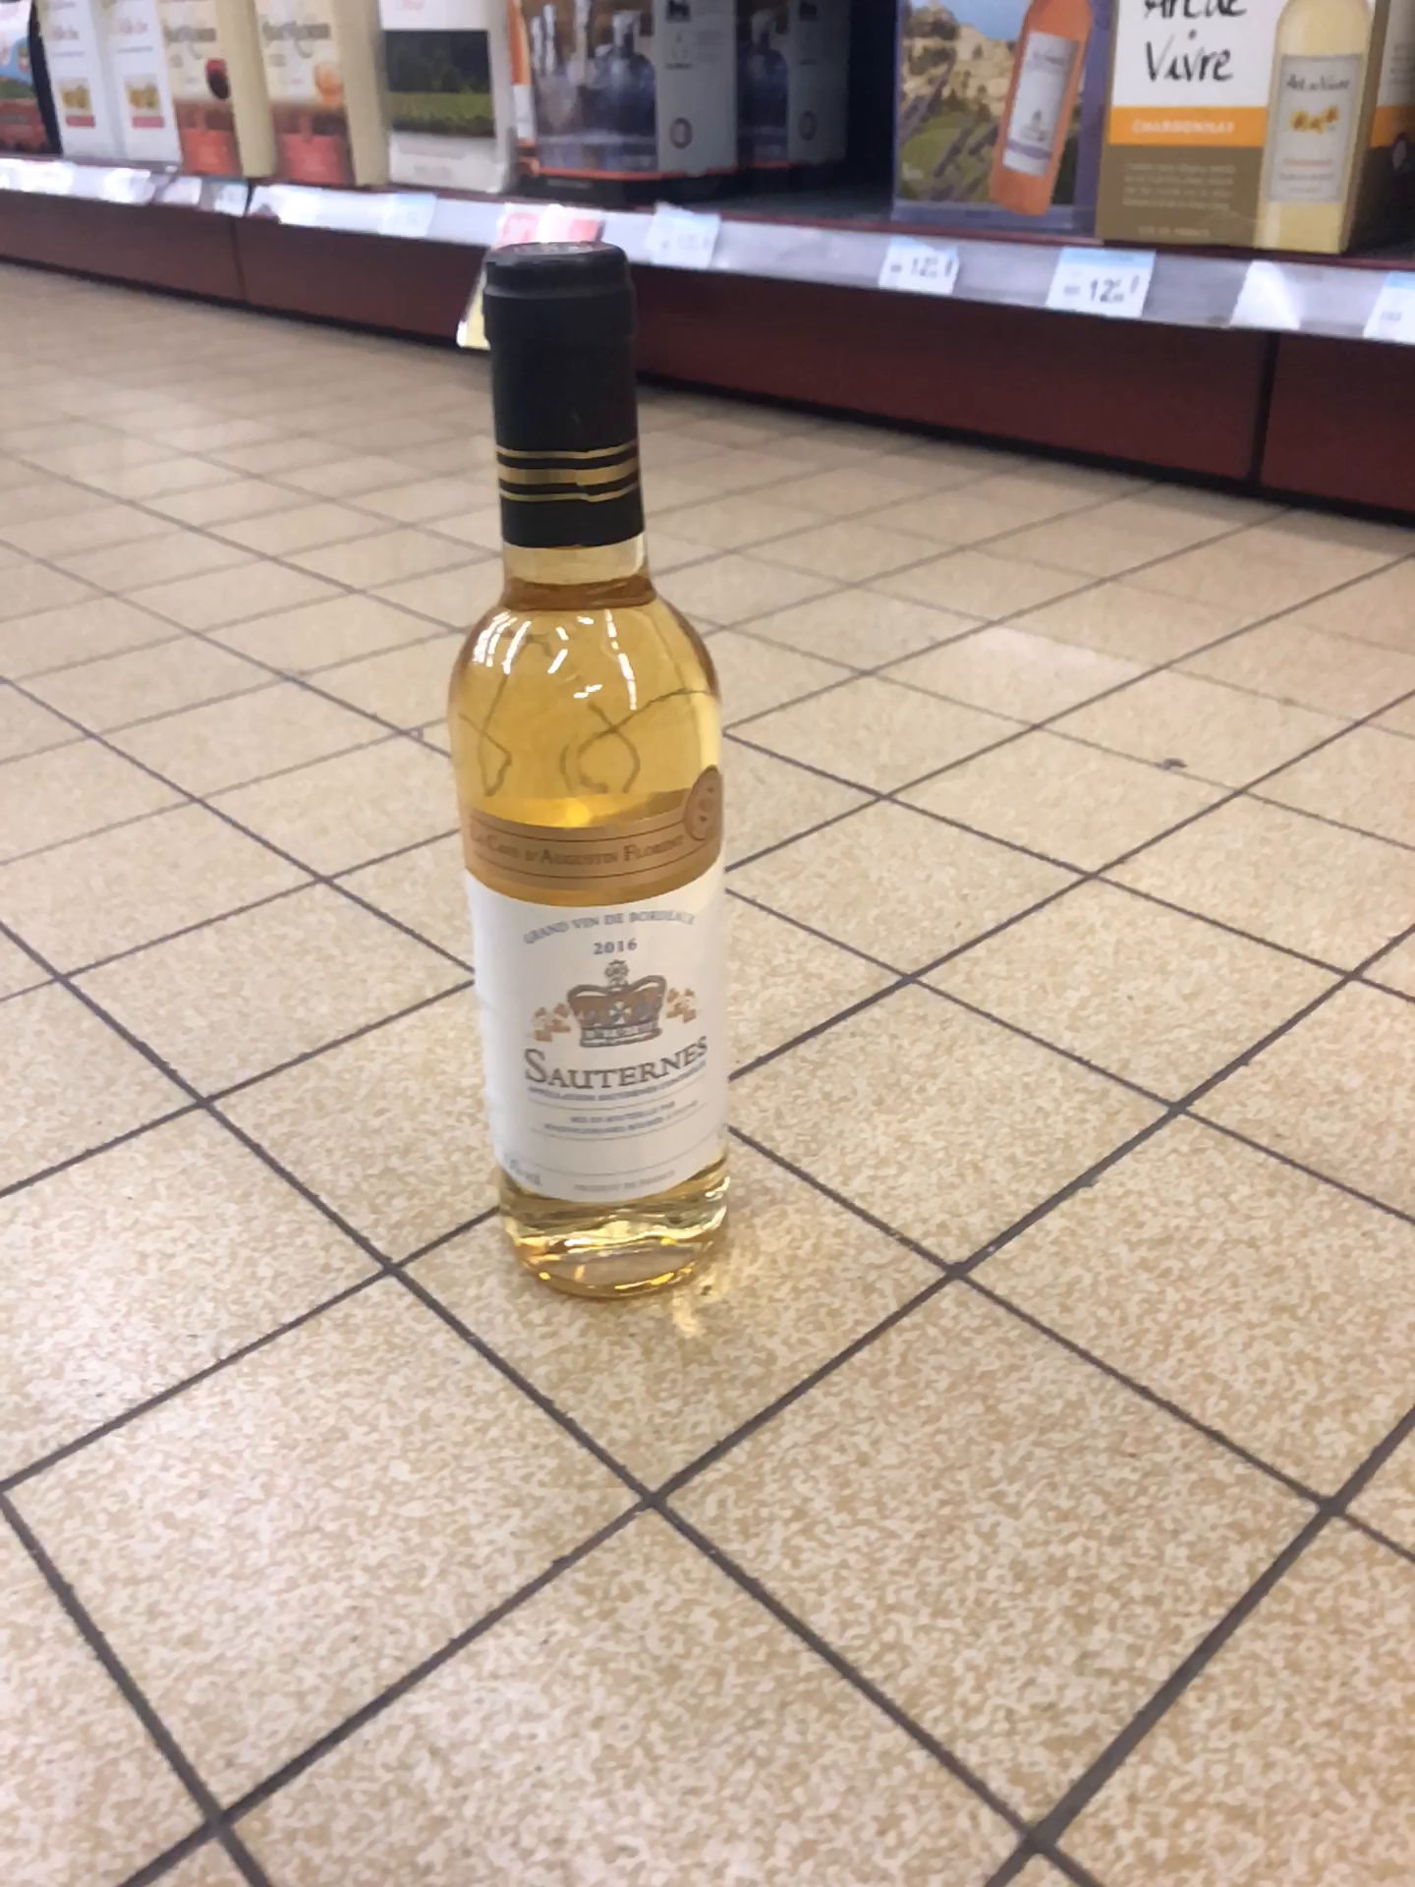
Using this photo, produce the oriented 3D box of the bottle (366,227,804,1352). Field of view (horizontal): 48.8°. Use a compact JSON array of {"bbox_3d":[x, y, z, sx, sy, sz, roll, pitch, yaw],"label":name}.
[{"bbox_3d":[-0.024,-0.028,0.356,0.070,0.239,0.070,-1,29,1],"label":"bottle"}]
